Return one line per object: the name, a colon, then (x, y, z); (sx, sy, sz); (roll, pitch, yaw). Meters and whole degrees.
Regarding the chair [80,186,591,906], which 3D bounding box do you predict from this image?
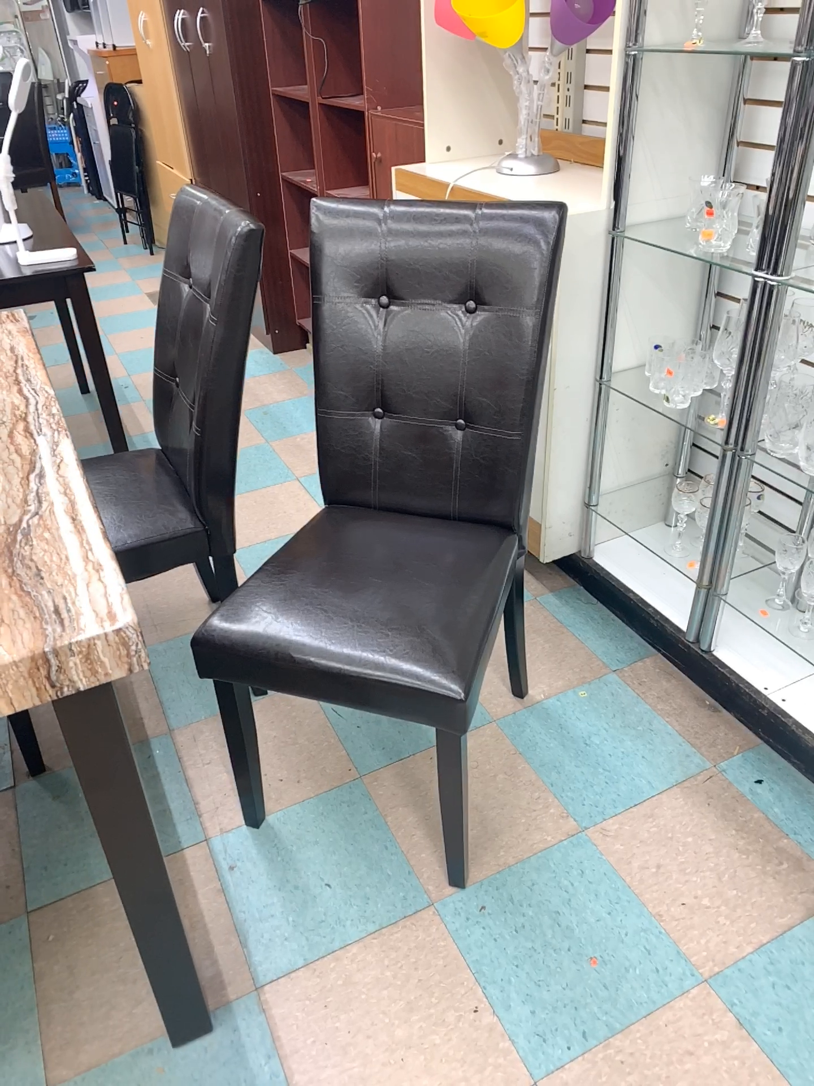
chair: (-0.021, -0.016, 1.330); (0.469, 0.939, 0.575); (9, 35, 20)
